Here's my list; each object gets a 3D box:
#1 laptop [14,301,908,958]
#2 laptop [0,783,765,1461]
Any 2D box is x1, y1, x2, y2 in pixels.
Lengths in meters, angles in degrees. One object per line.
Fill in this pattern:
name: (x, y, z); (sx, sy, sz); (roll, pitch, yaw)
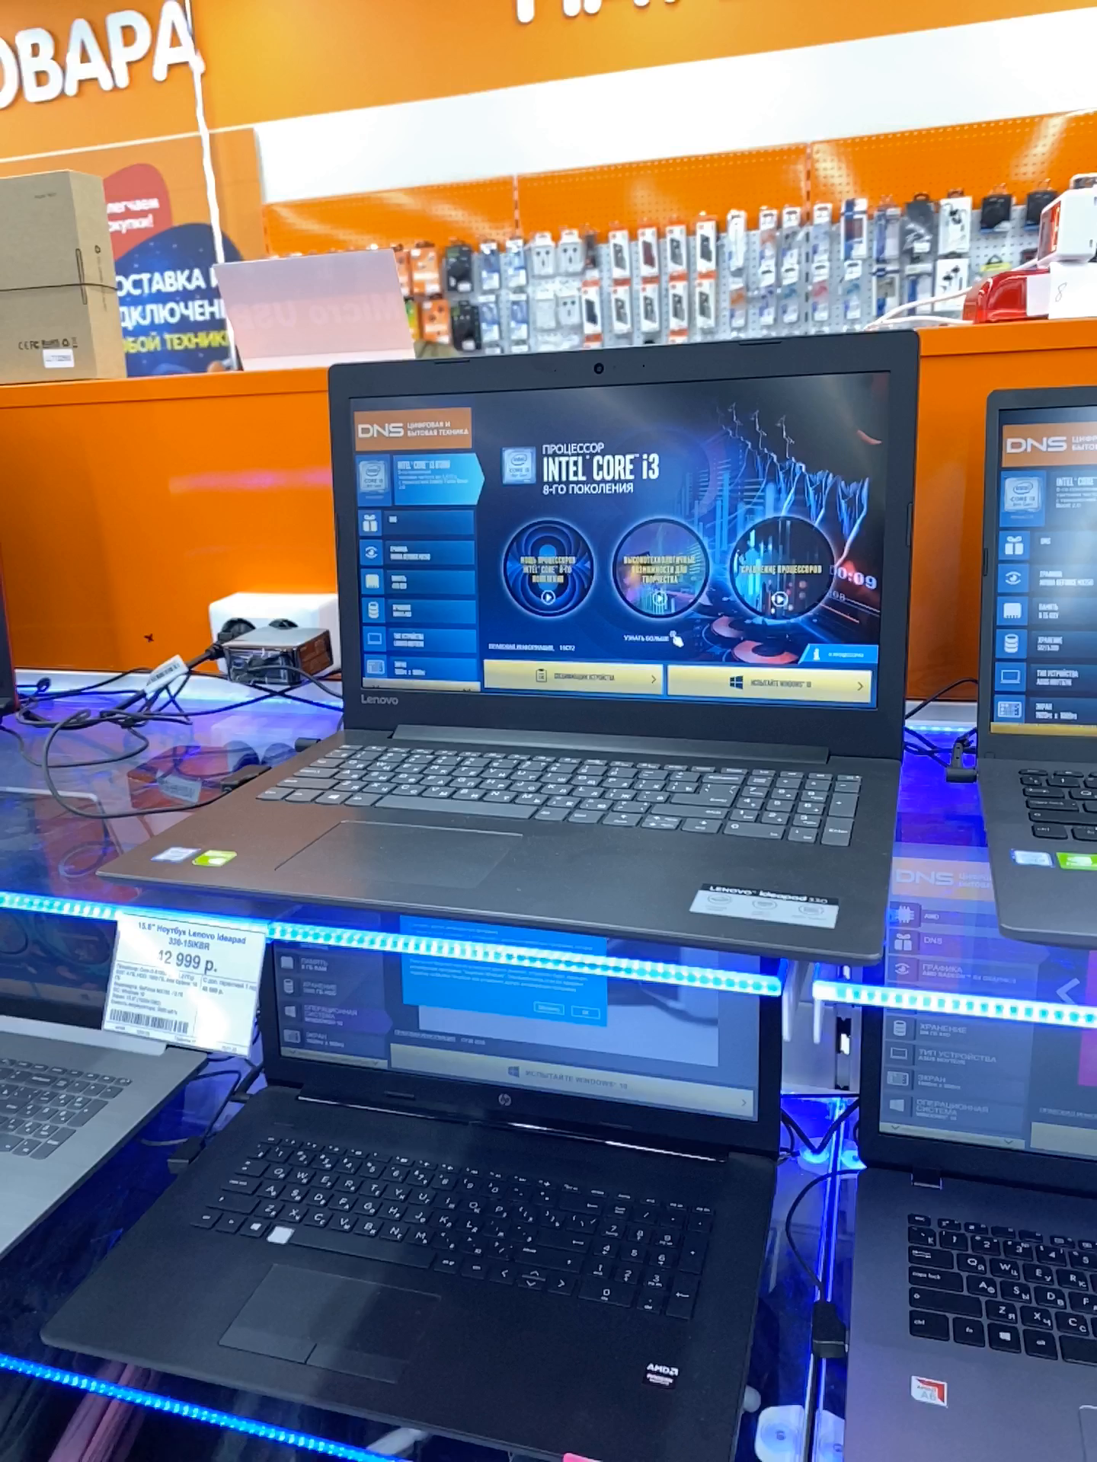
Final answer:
laptop: (-0.010, -0.077, 0.603); (0.377, 0.245, 0.290); (3, 16, 18)
laptop: (-0.076, 0.206, 0.704); (0.400, 0.263, 0.272); (2, 14, 15)
